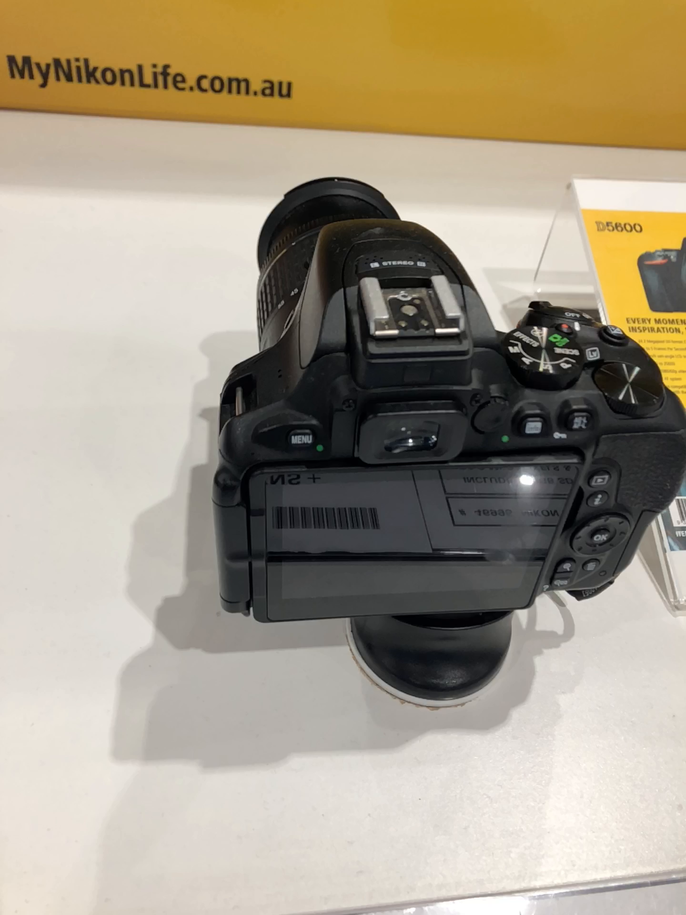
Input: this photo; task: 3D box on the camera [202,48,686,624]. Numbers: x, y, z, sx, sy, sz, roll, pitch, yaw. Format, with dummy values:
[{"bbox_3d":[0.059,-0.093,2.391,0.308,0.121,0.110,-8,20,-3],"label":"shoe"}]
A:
[{"bbox_3d":[0.022,-0.046,0.246,0.127,0.097,0.163,-1,47,-9],"label":"camera"}]
